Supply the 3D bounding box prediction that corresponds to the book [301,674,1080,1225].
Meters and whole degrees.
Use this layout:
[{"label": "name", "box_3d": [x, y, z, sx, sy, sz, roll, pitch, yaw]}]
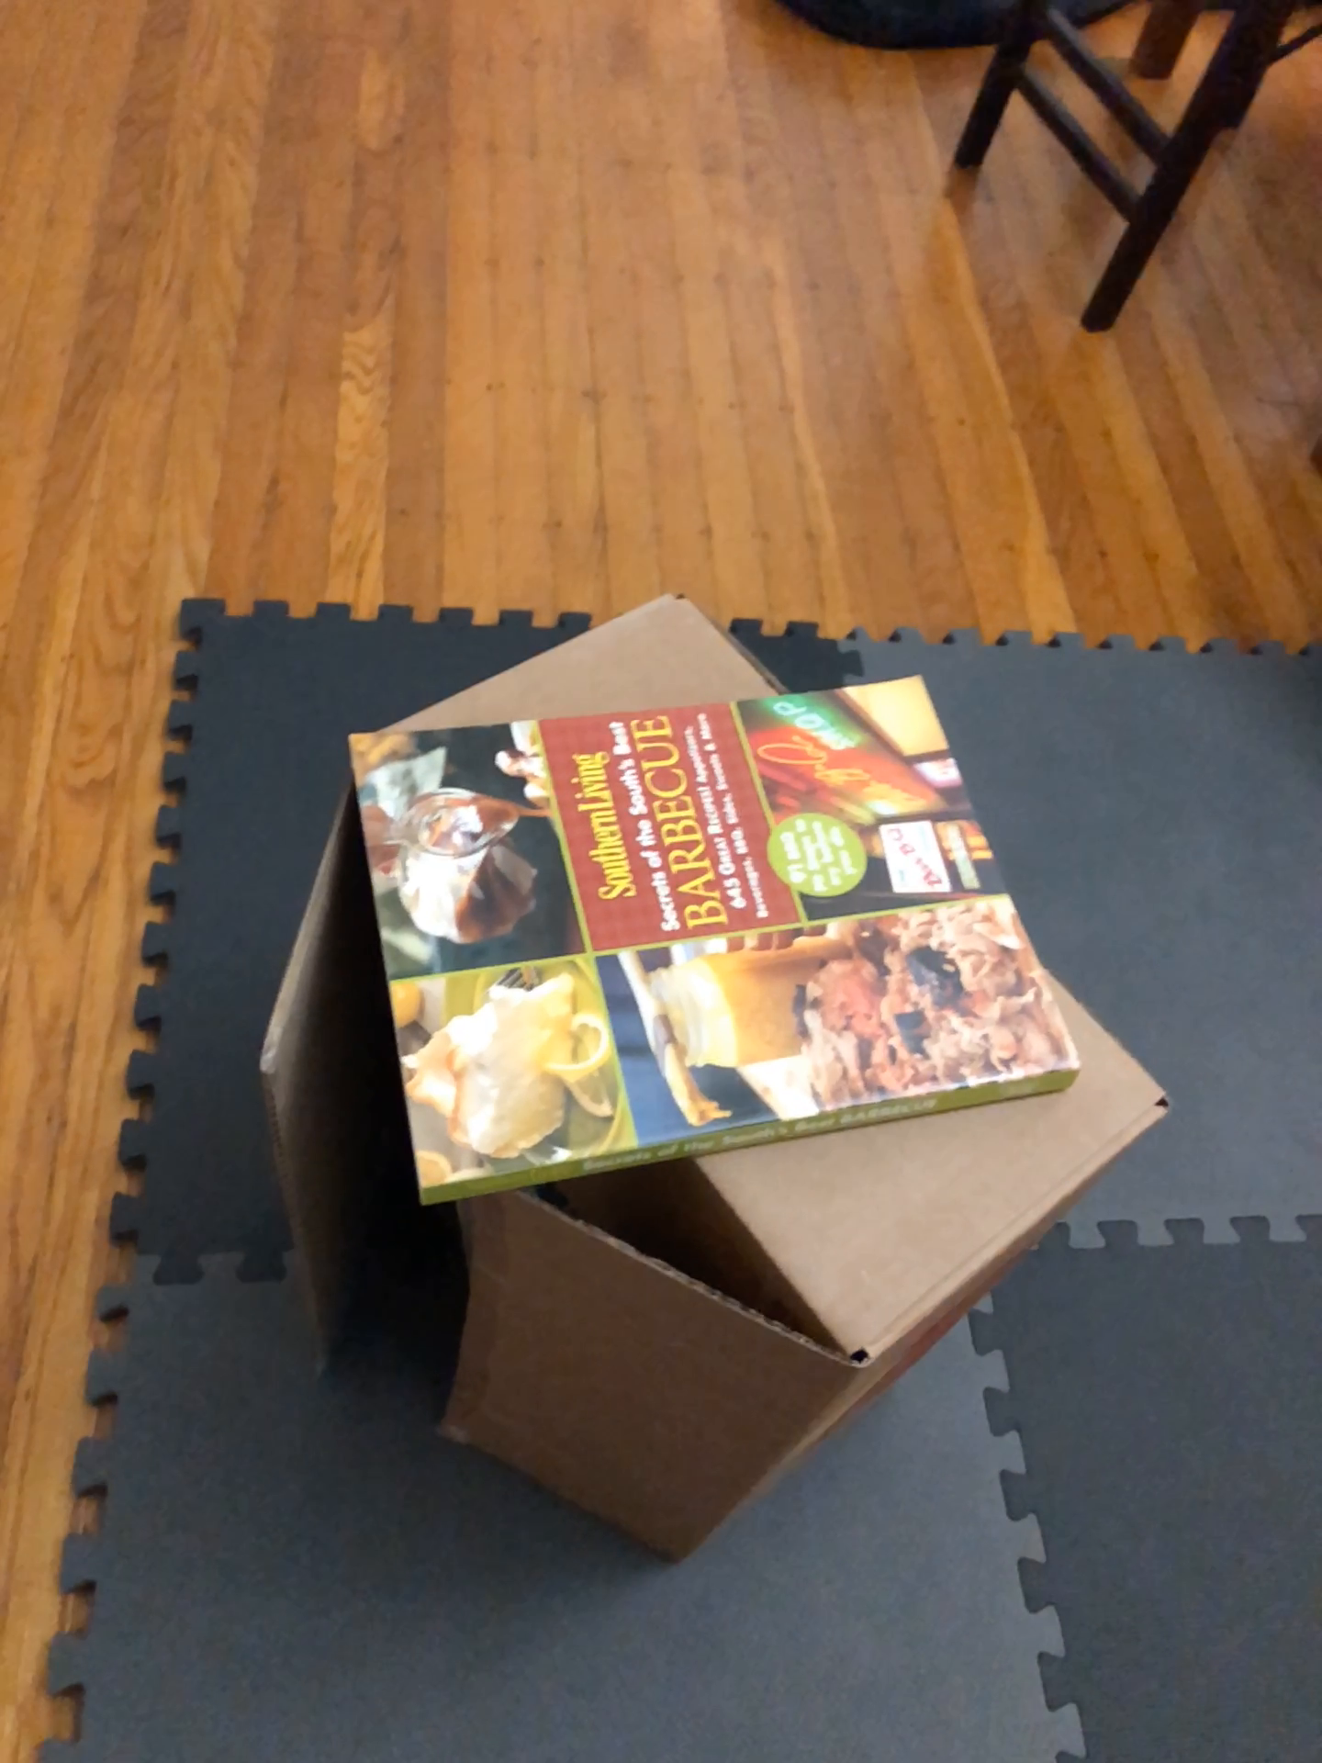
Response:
[{"label": "book", "box_3d": [0.006, 0.013, 0.625, 0.290, 0.020, 0.221, -7, 59, -15]}]
